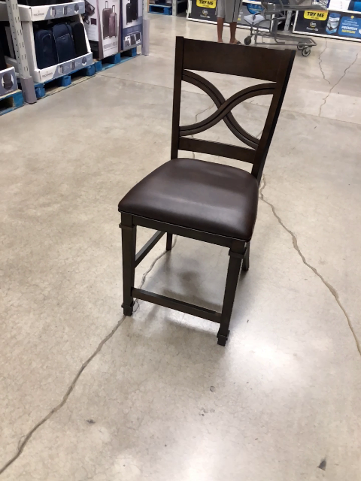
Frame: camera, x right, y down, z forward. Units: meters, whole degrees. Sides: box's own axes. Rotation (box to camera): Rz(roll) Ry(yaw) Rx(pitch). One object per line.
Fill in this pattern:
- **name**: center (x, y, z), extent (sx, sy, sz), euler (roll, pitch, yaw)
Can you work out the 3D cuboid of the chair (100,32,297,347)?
- **chair**: center (0.082, -0.207, 1.629), extent (0.490, 1.027, 0.652), euler (14, 38, 13)
